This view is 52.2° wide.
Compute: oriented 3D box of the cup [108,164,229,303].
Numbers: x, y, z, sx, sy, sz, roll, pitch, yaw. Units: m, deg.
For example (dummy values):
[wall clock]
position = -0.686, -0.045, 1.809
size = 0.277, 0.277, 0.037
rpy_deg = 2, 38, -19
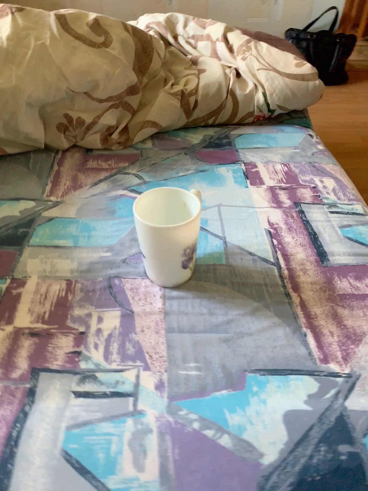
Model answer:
[cup]
position = -0.016, -0.018, 0.459
size = 0.080, 0.099, 0.121
rpy_deg = 28, 48, 24
